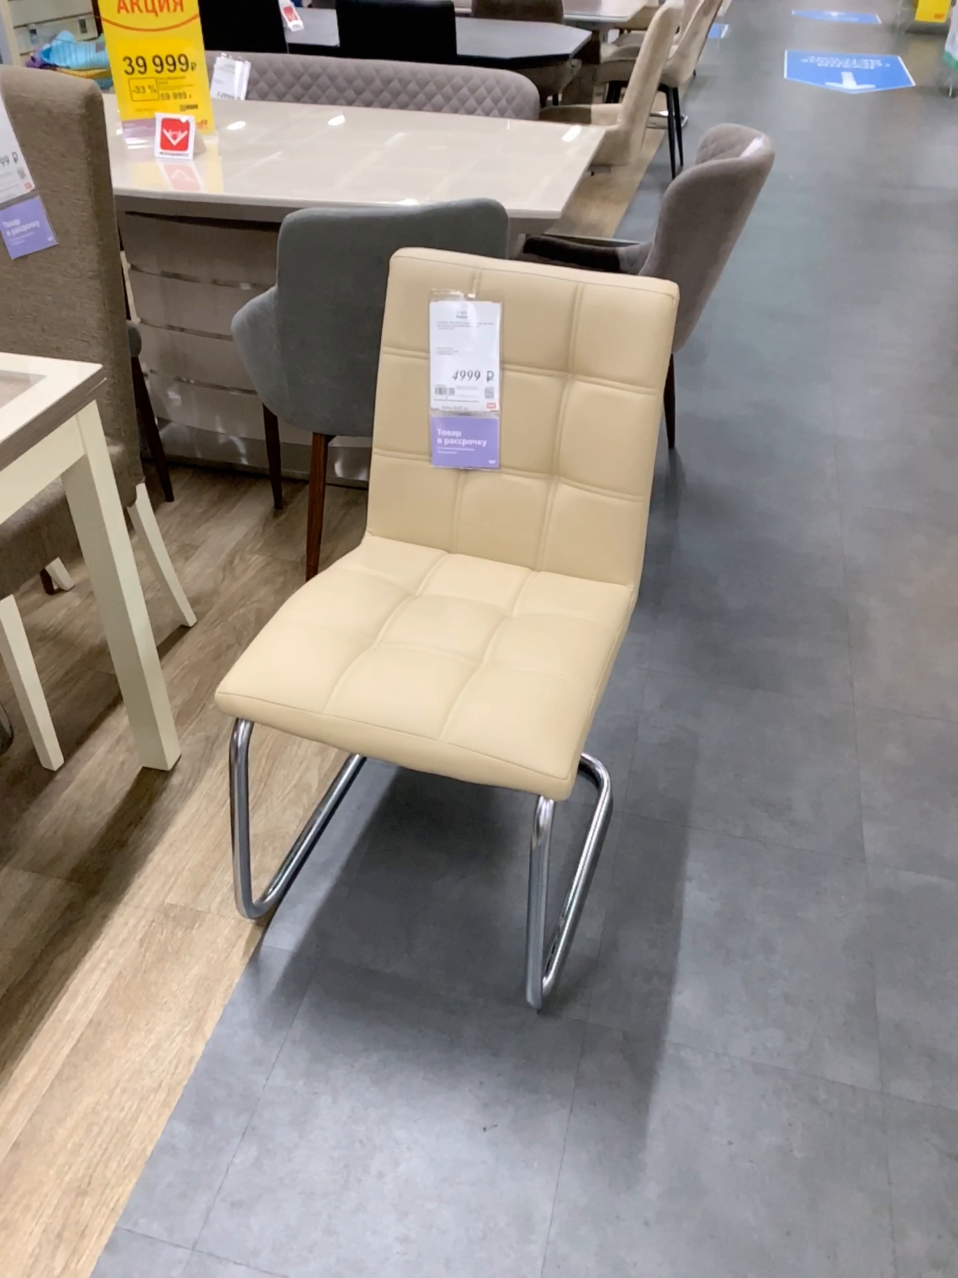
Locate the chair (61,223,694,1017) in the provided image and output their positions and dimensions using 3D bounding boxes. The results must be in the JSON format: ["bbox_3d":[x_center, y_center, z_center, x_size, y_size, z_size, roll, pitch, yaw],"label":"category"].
[{"bbox_3d":[-0.061,-0.052,1.391,0.530,0.815,0.654,11,39,13],"label":"chair"}]
